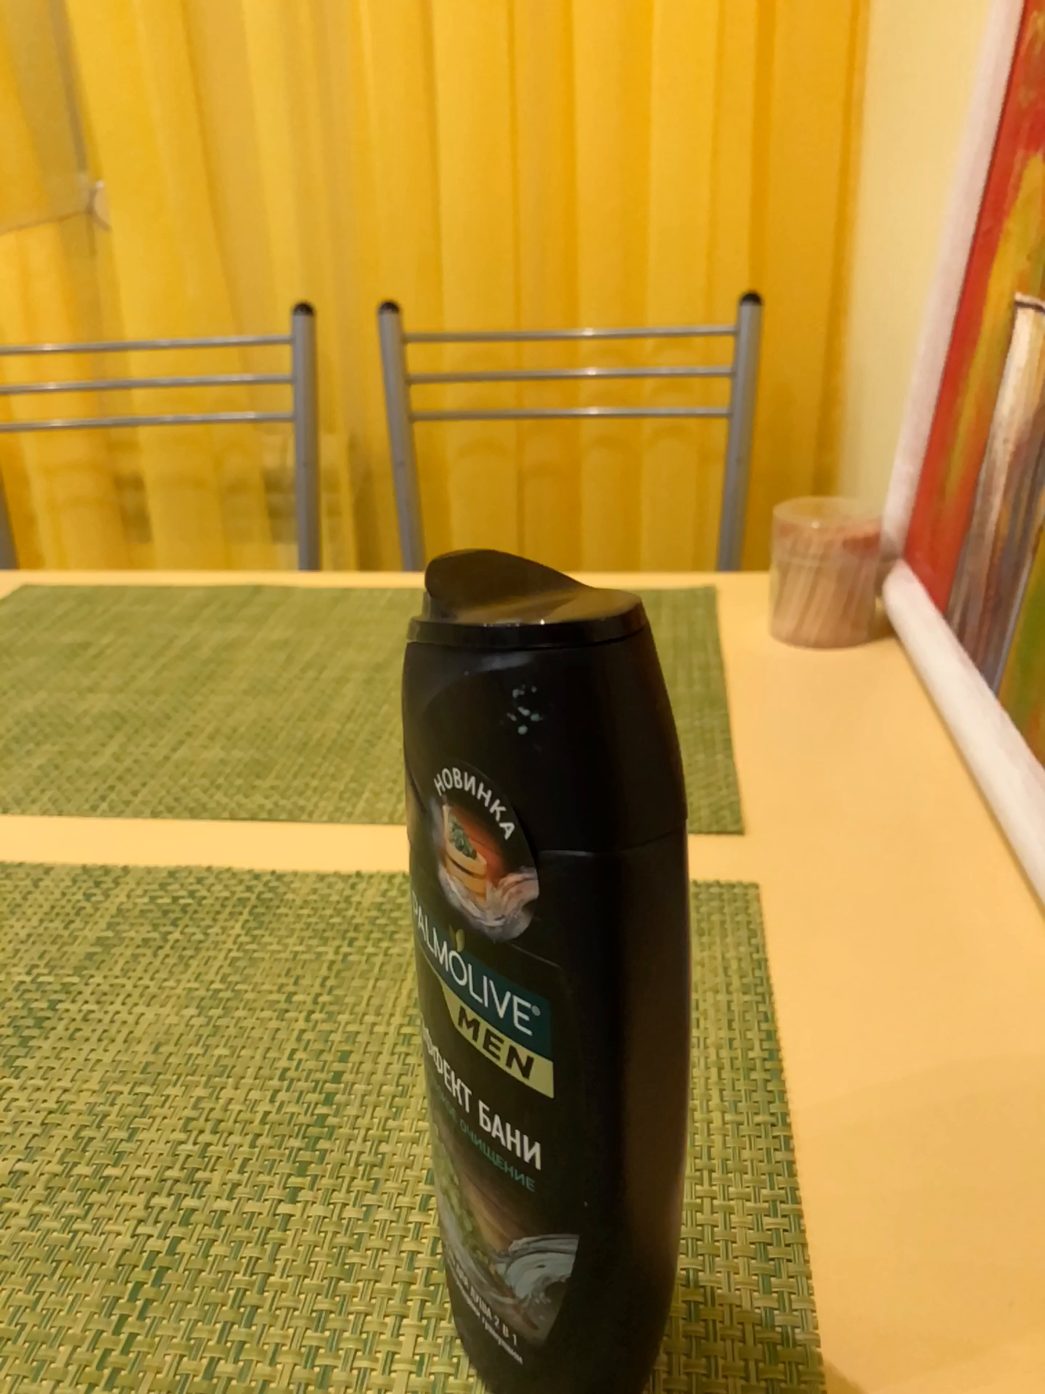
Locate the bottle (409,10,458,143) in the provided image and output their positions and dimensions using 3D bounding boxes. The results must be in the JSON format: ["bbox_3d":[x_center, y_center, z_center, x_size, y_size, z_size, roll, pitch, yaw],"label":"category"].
[{"bbox_3d":[-0.246,-1.731,3.254,0.099,0.318,0.107,-2,23,1],"label":"bottle"}]
